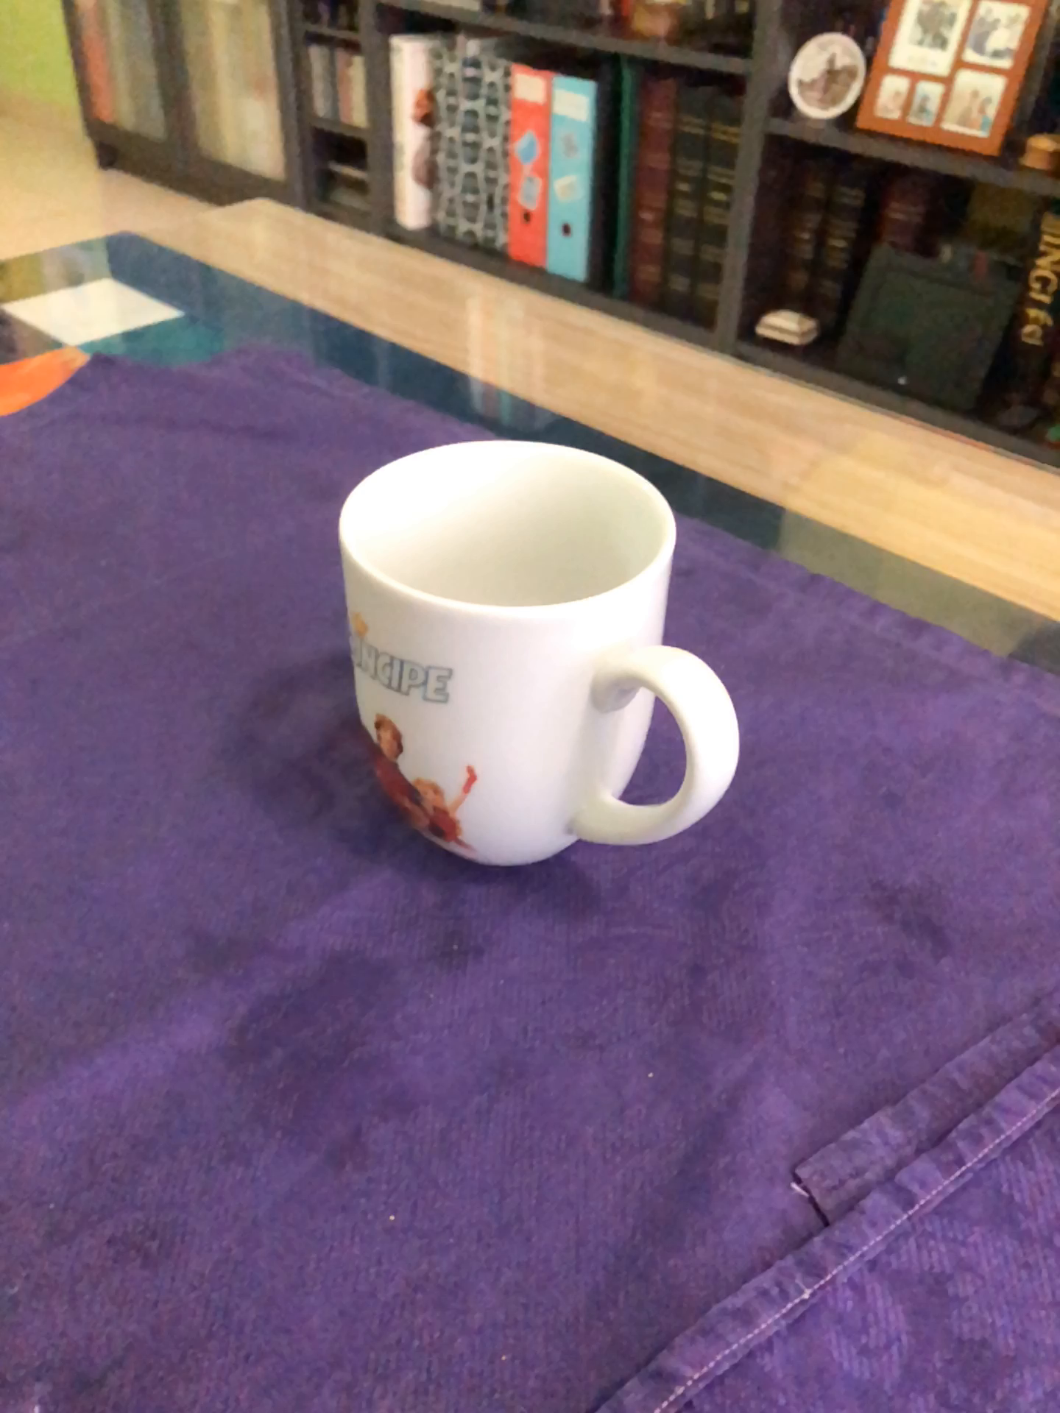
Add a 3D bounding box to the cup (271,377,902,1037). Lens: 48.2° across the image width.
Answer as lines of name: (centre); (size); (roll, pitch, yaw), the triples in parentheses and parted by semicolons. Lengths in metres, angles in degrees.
cup: (0.007, -0.008, 0.288); (0.080, 0.090, 0.120); (-25, 45, -29)
